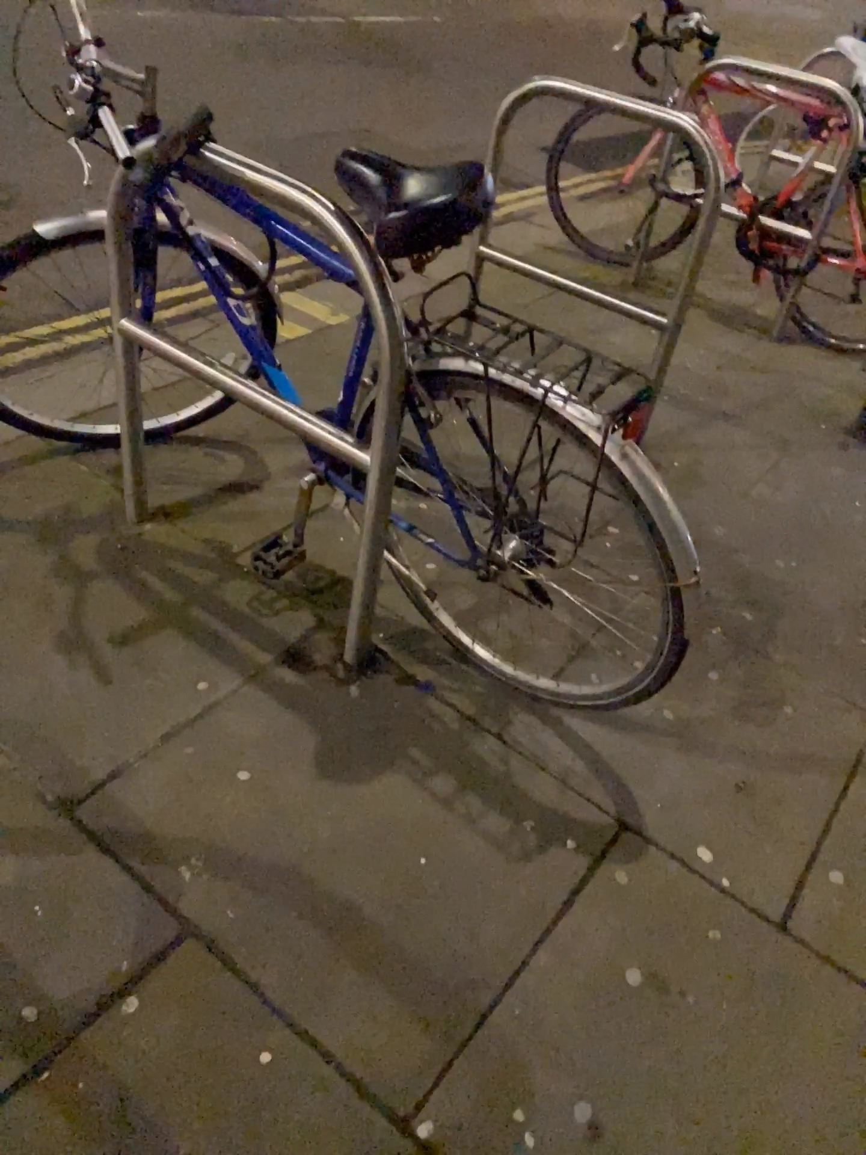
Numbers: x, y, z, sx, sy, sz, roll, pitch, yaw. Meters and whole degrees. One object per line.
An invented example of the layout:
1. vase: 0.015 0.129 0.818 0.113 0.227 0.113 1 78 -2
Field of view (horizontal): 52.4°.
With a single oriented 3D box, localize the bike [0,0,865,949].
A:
1. bike: -0.271 -0.355 1.446 1.595 1.108 0.659 27 42 15
